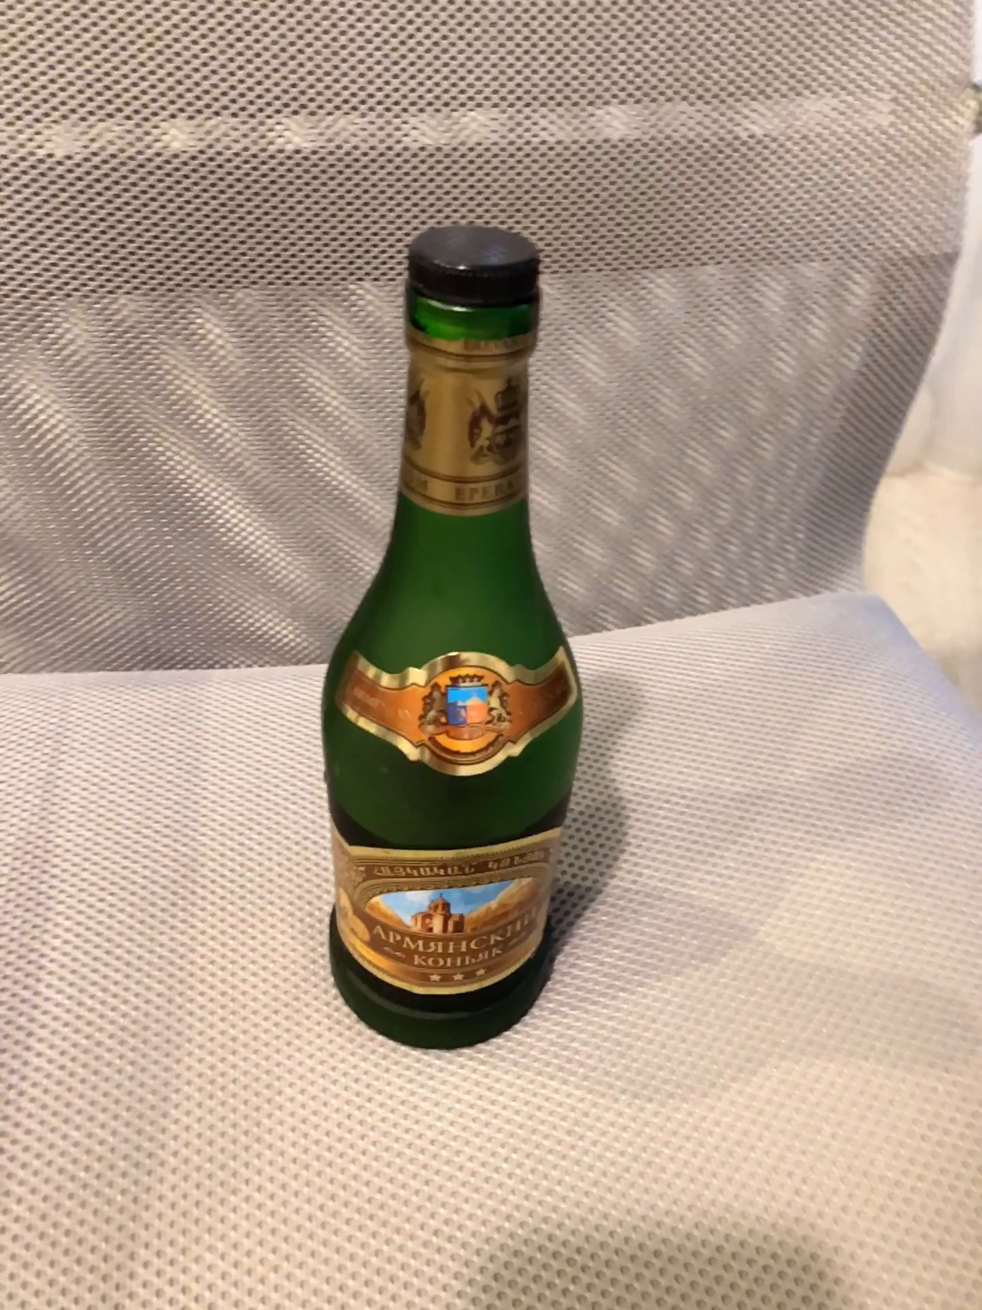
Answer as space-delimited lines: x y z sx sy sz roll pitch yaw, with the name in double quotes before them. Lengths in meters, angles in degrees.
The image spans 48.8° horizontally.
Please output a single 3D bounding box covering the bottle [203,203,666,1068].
"bottle" -0.014 0.015 0.289 0.078 0.238 0.075 0 43 0
